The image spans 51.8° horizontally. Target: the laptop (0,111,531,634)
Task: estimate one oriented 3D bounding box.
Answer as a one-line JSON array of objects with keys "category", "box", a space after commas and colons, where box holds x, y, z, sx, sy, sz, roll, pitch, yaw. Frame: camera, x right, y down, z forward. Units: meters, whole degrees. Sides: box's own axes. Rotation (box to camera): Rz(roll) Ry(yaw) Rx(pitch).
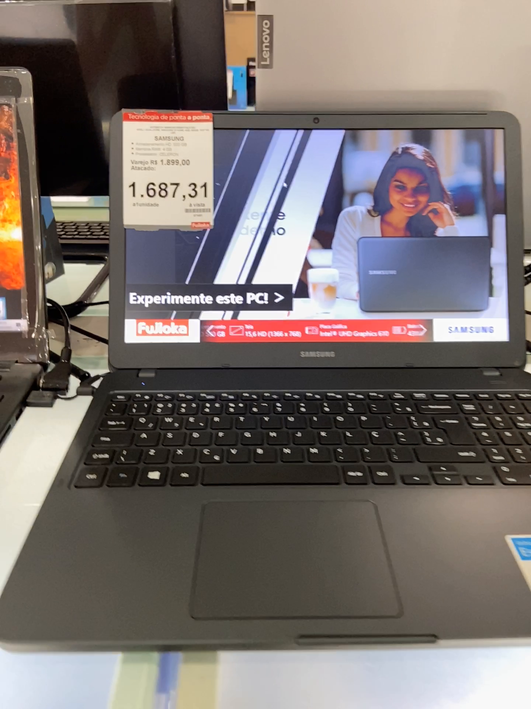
[{"category": "laptop", "box": [0.047, -0.043, 0.383, 0.366, 0.197, 0.372, -1, 29, 0]}]
